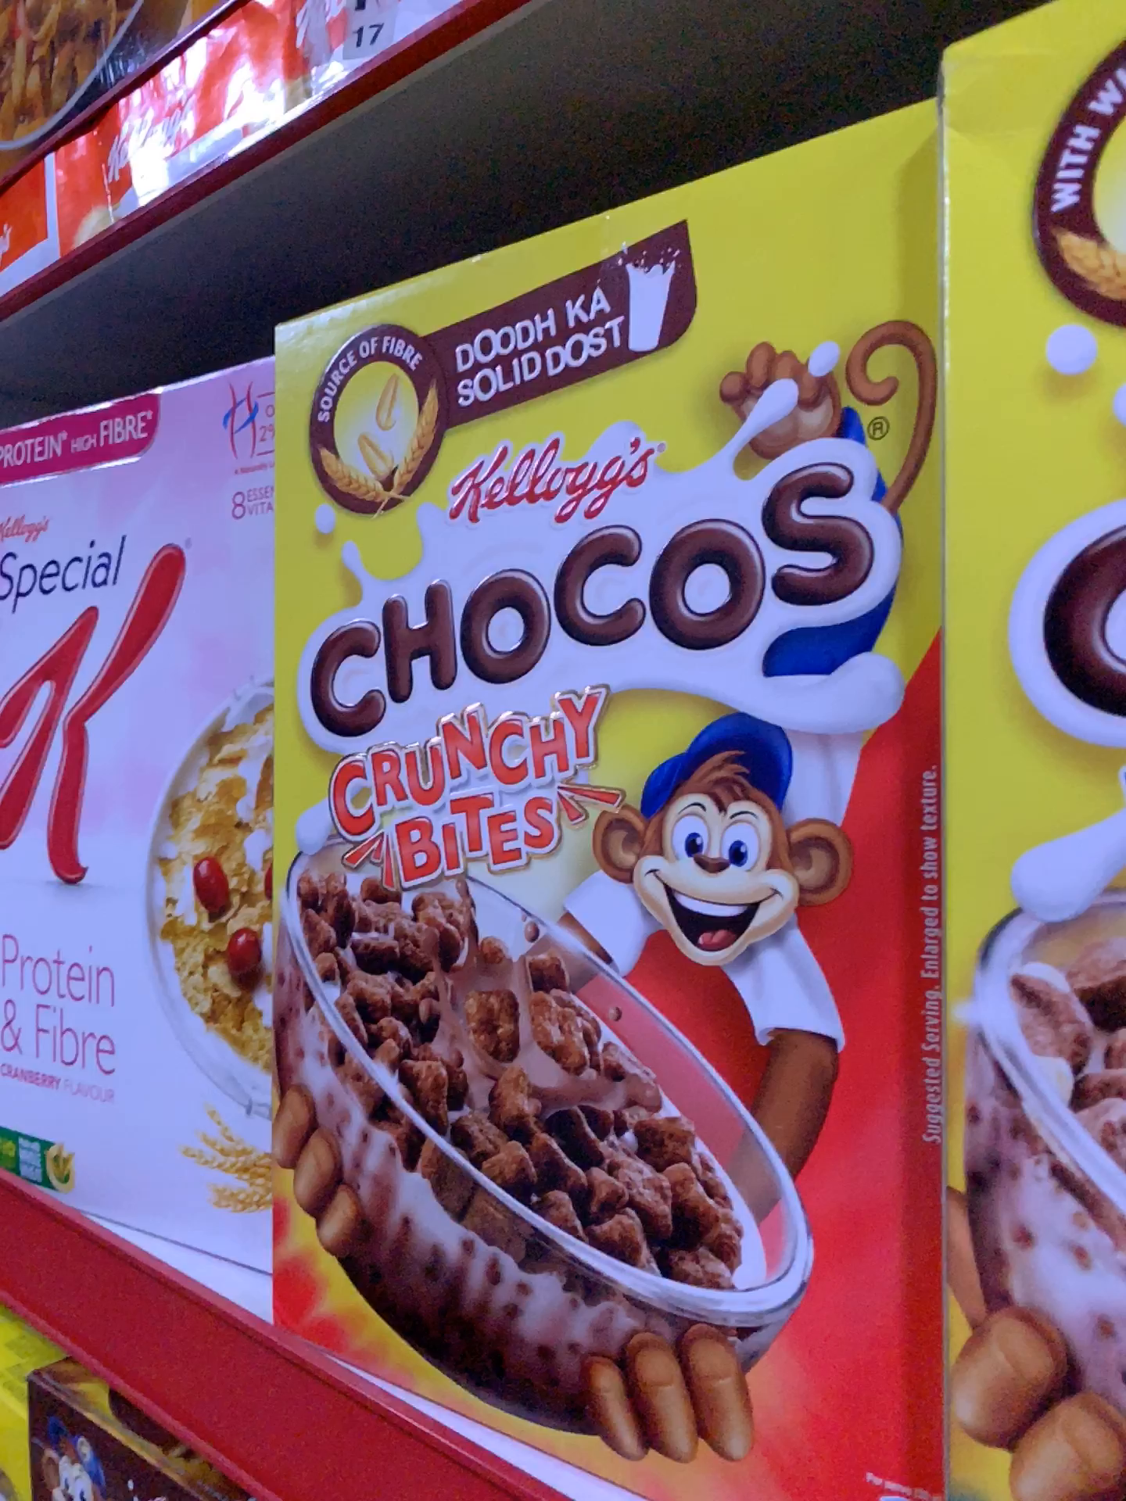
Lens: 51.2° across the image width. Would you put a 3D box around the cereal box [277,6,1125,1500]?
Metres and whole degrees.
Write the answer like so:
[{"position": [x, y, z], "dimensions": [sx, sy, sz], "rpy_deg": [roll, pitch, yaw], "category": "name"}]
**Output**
[{"position": [0.033, 0.014, 0.267], "dimensions": [0.190, 0.260, 0.080], "rpy_deg": [-1, -3, 35], "category": "cereal box"}]
